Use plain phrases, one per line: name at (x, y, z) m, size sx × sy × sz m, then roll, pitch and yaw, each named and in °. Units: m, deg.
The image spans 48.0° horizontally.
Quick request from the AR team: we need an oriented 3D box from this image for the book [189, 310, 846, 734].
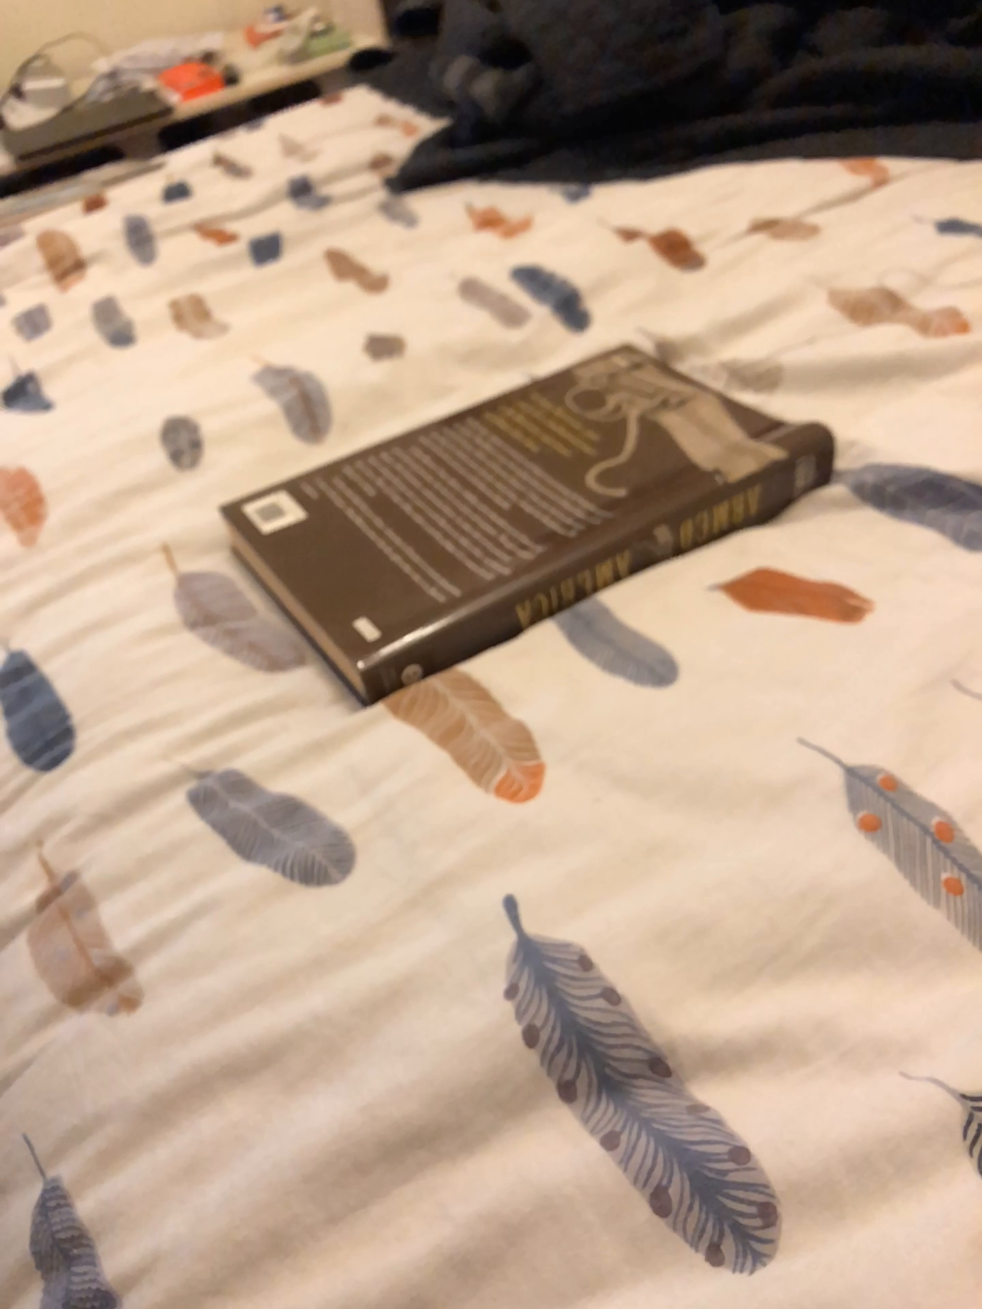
book at (0.006, -0.078, 0.503) m, size 0.240 × 0.030 × 0.181 m, roll -28°, pitch 41°, yaw -17°
